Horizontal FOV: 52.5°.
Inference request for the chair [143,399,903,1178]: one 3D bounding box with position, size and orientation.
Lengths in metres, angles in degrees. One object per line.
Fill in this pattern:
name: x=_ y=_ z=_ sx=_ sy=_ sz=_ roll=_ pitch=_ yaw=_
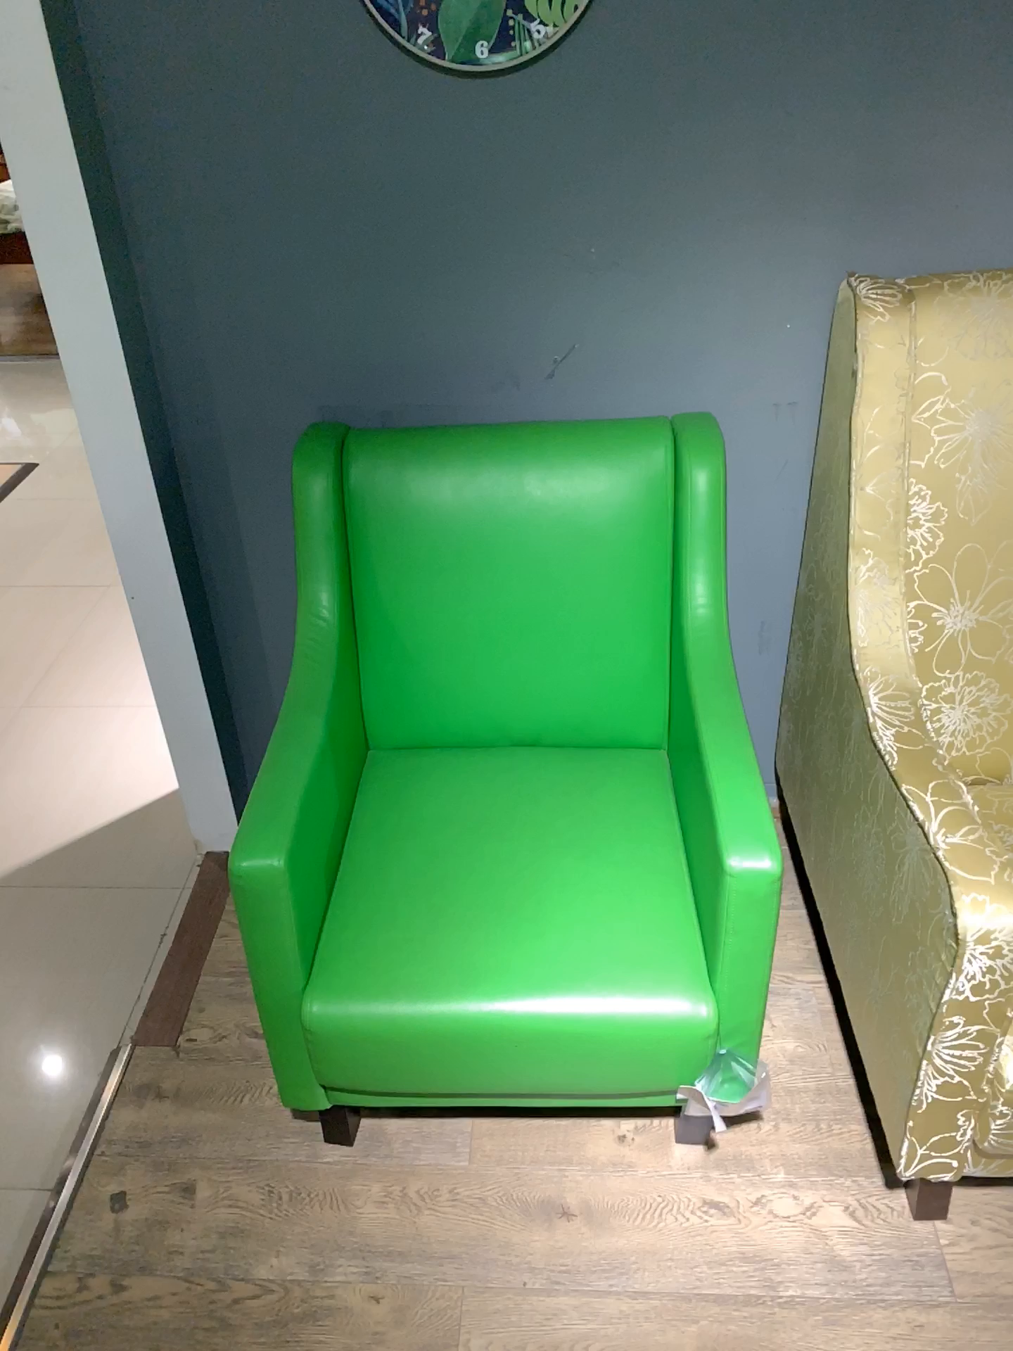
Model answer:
chair: x=0.035 y=0.123 z=1.514 sx=0.710 sy=0.786 sz=0.814 roll=-1 pitch=34 yaw=3
